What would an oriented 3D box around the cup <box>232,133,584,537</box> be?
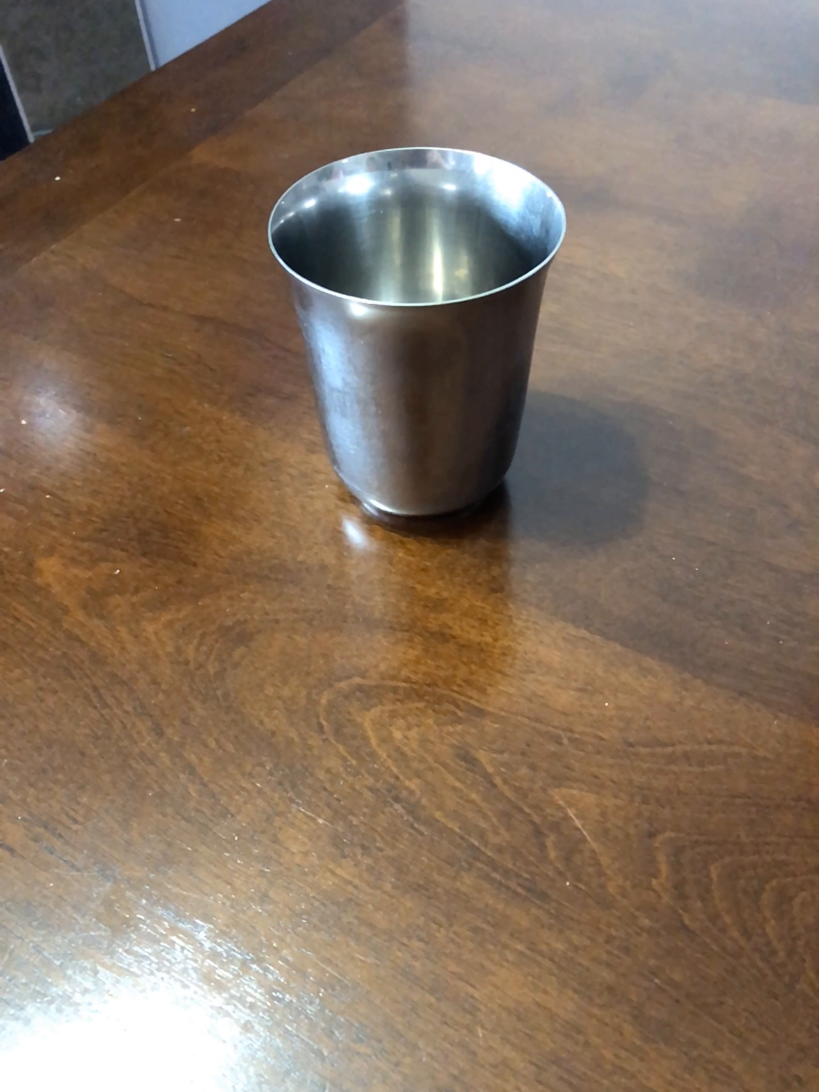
[{"bbox_3d":[0.005,-0.064,0.275,0.080,0.080,0.080,-1,49,1],"label":"cup"}]
